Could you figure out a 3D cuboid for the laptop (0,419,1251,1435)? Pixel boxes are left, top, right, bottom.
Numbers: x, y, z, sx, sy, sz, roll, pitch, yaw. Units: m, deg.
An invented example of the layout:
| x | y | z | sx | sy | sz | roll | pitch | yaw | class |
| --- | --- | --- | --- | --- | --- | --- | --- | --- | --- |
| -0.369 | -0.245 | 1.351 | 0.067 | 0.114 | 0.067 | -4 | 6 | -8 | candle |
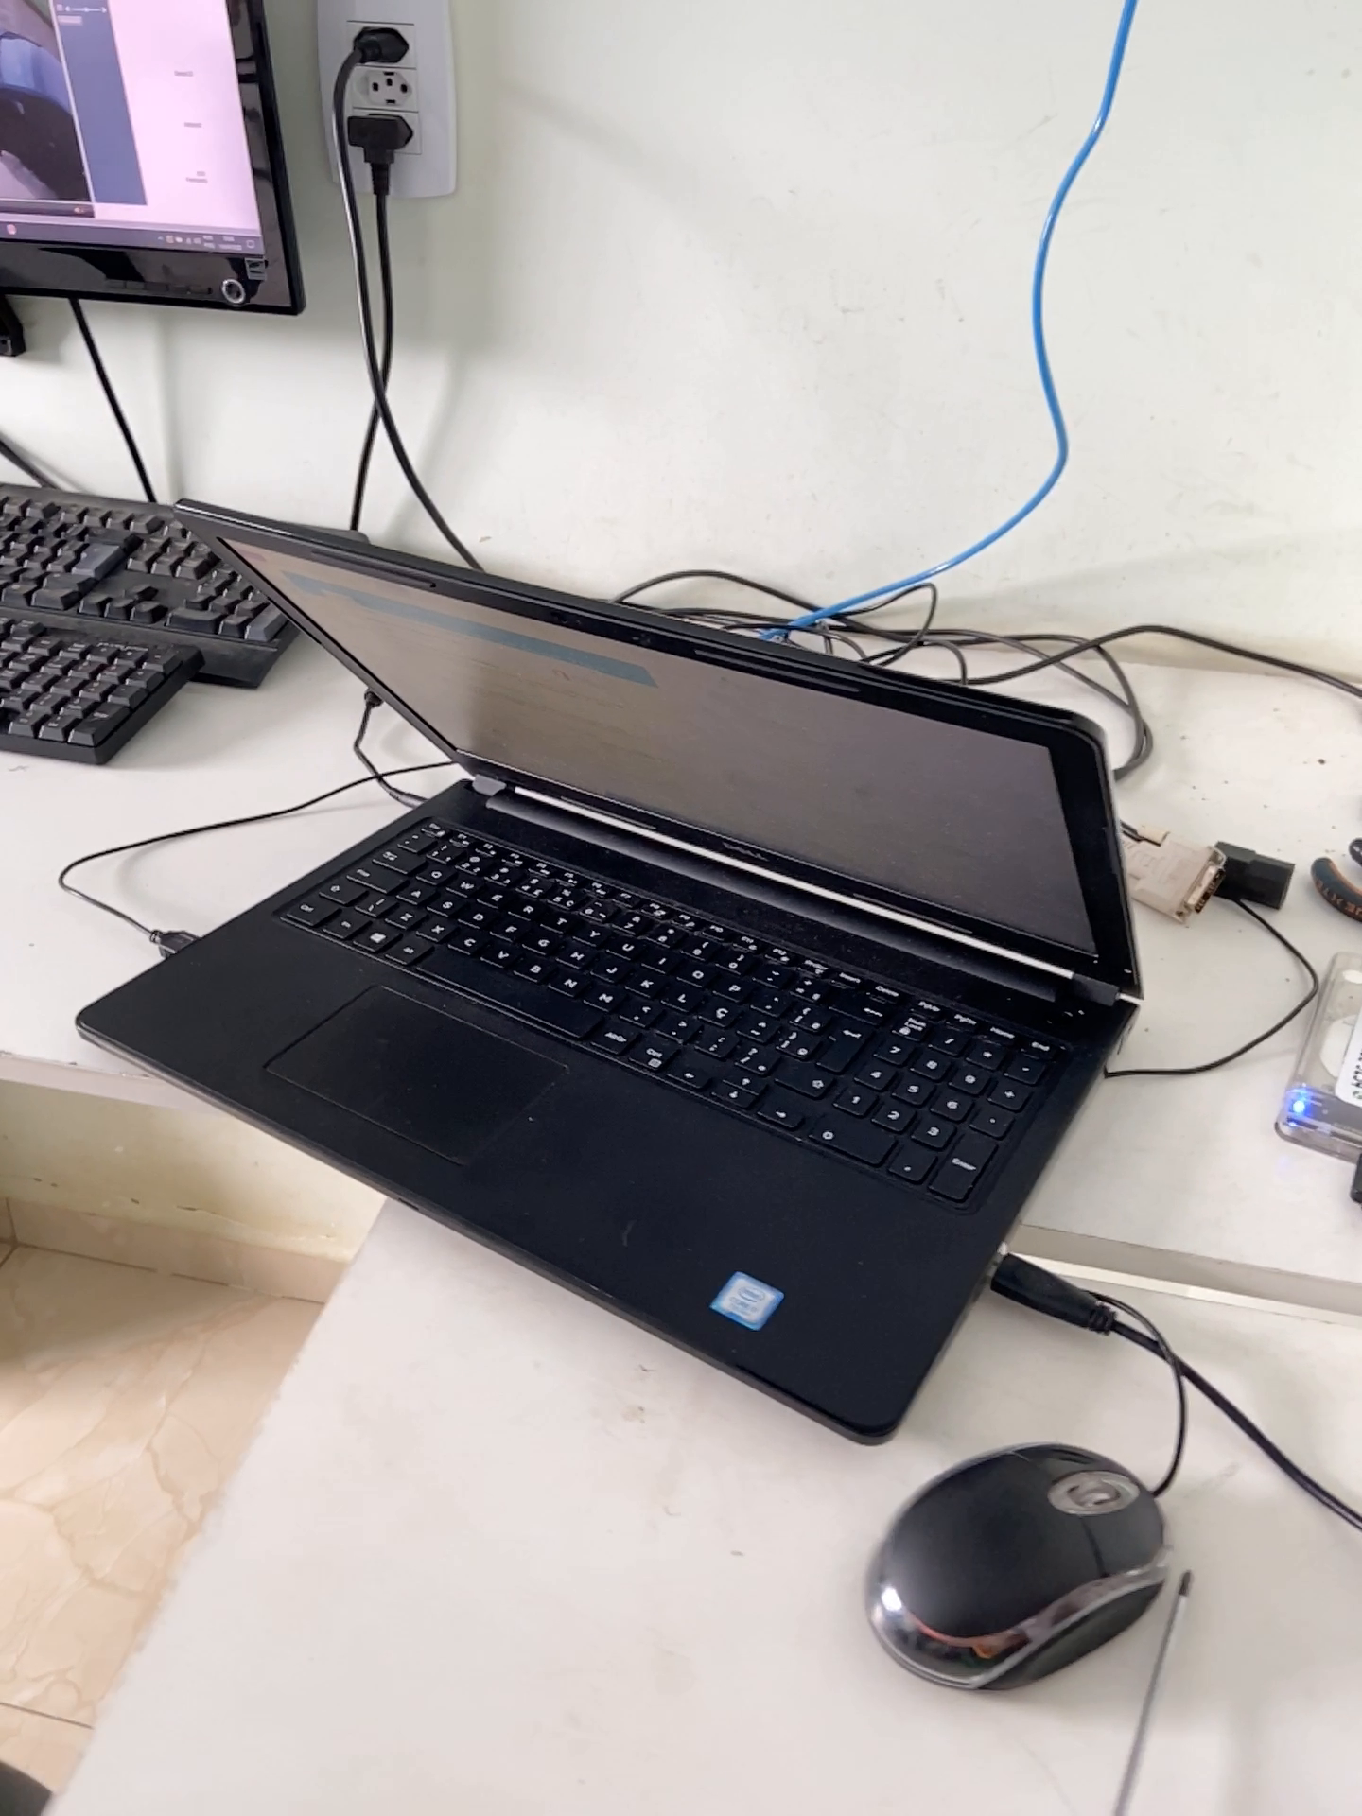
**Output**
| x | y | z | sx | sy | sz | roll | pitch | yaw | class |
| --- | --- | --- | --- | --- | --- | --- | --- | --- | --- |
| -0.025 | -0.035 | 0.543 | 0.372 | 0.192 | 0.257 | 20 | 37 | 25 | laptop |
